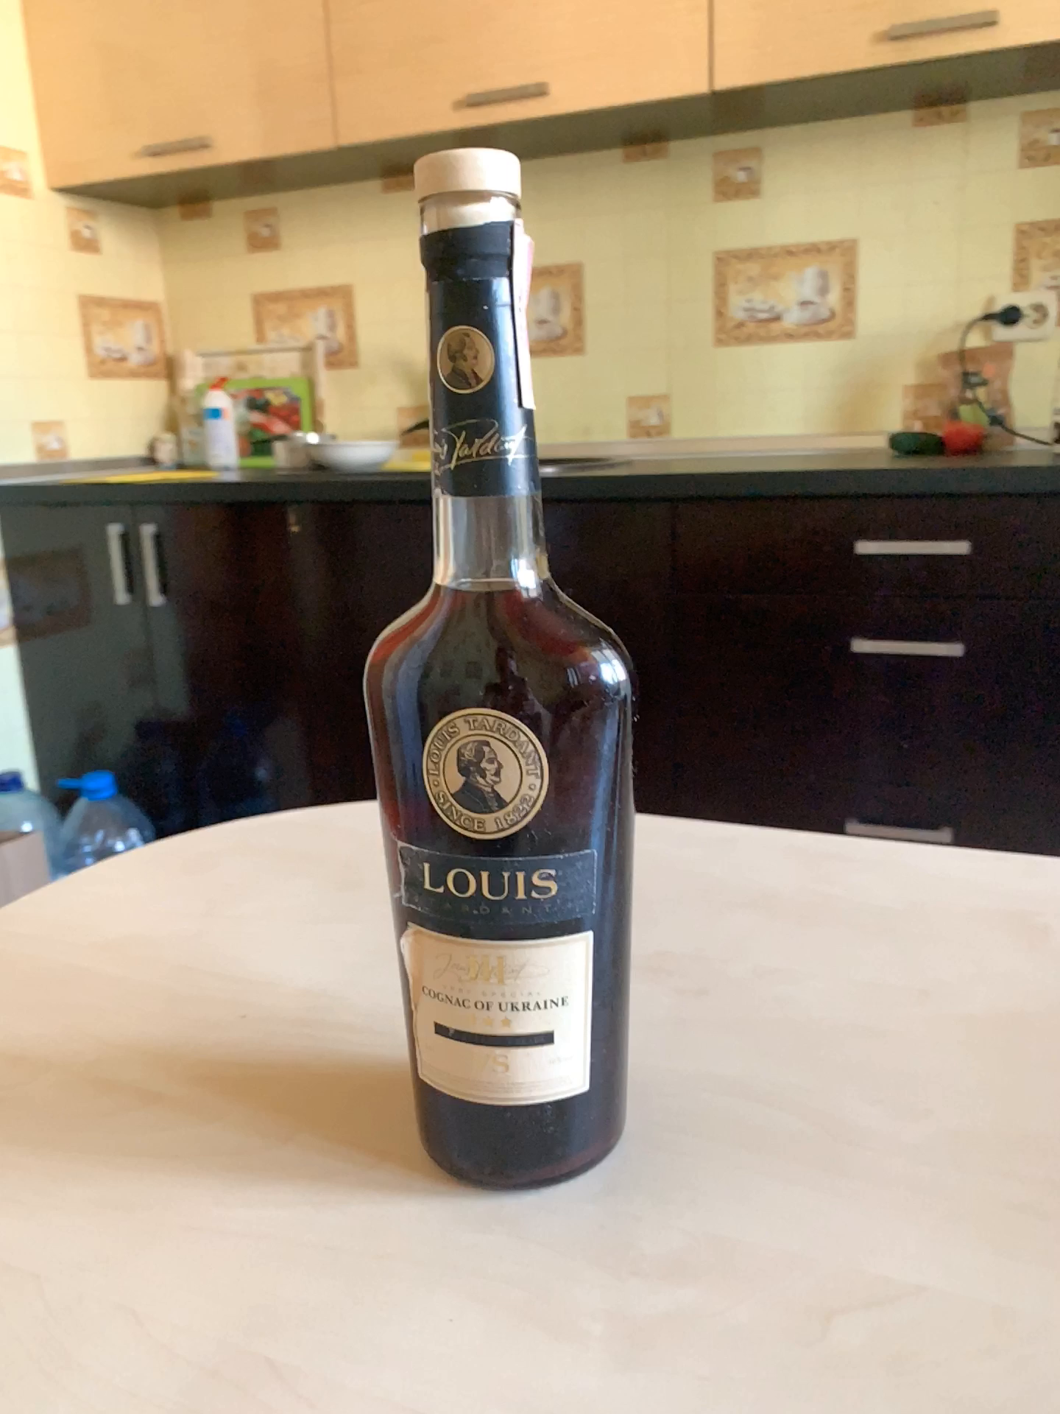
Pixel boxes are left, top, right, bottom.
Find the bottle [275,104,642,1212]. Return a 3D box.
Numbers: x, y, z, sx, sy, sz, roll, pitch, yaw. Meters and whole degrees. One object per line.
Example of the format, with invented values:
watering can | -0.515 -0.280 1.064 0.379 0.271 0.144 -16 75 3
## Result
bottle | -0.009 -0.005 0.323 0.080 0.289 0.080 -2 14 1
